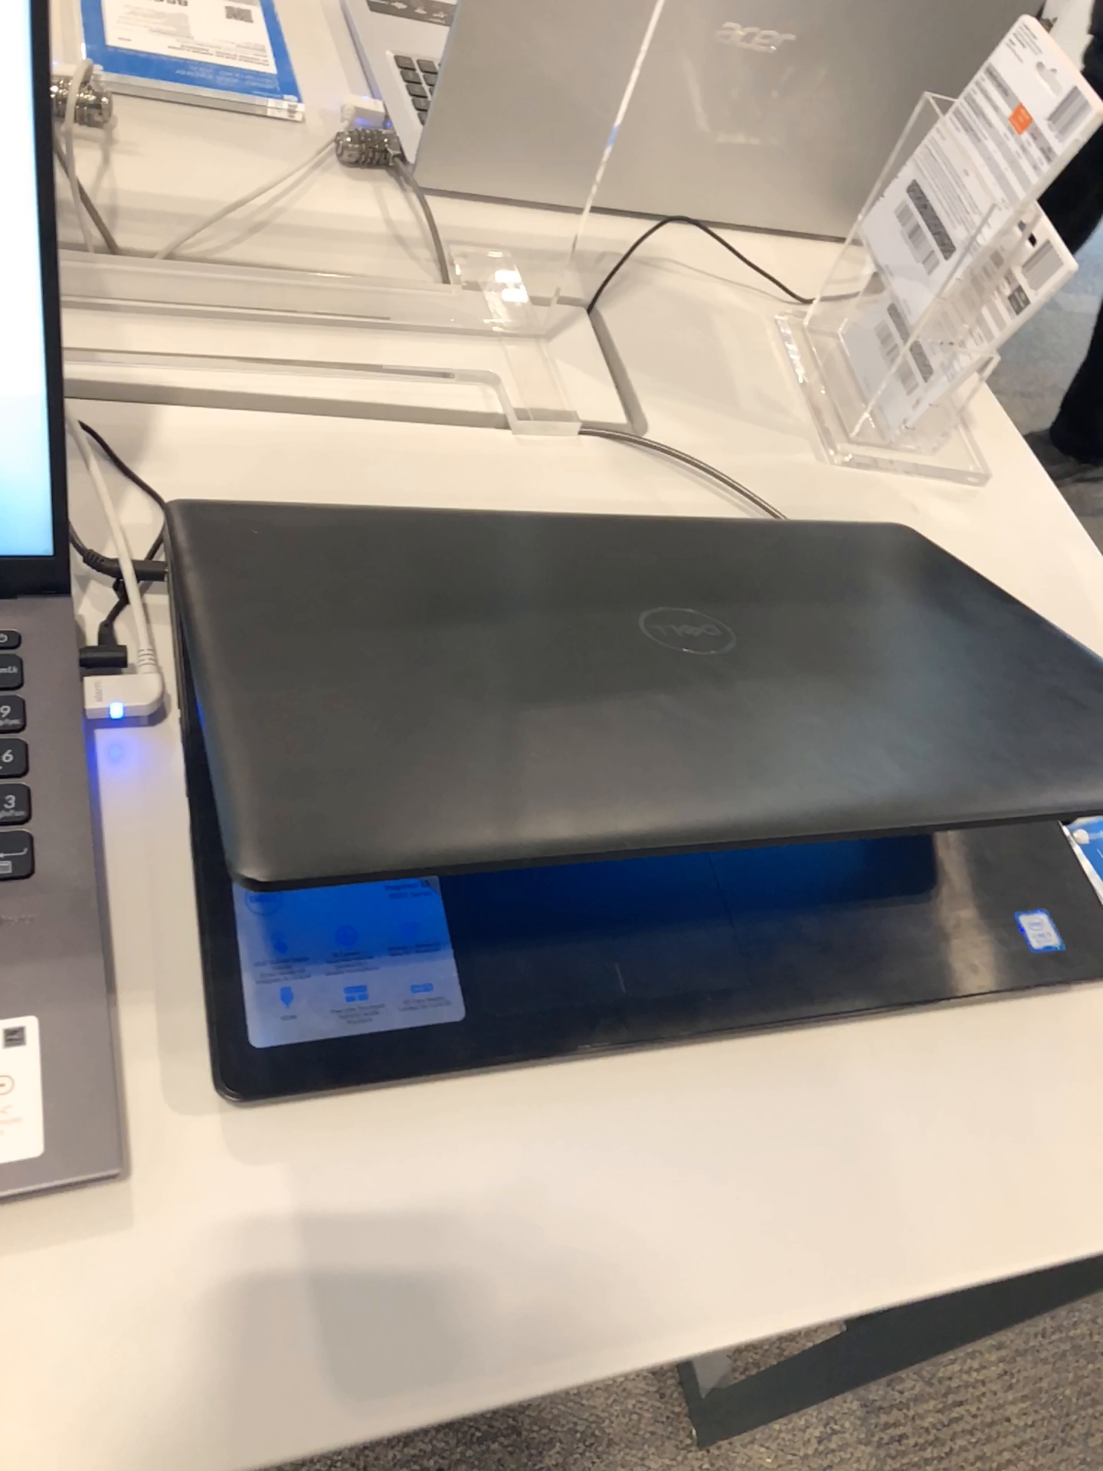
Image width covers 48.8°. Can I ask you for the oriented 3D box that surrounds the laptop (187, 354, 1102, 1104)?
[{"bbox_3d":[0.058,-0.020,0.469,0.365,0.080,0.245,-1,54,-23],"label":"laptop"}]
